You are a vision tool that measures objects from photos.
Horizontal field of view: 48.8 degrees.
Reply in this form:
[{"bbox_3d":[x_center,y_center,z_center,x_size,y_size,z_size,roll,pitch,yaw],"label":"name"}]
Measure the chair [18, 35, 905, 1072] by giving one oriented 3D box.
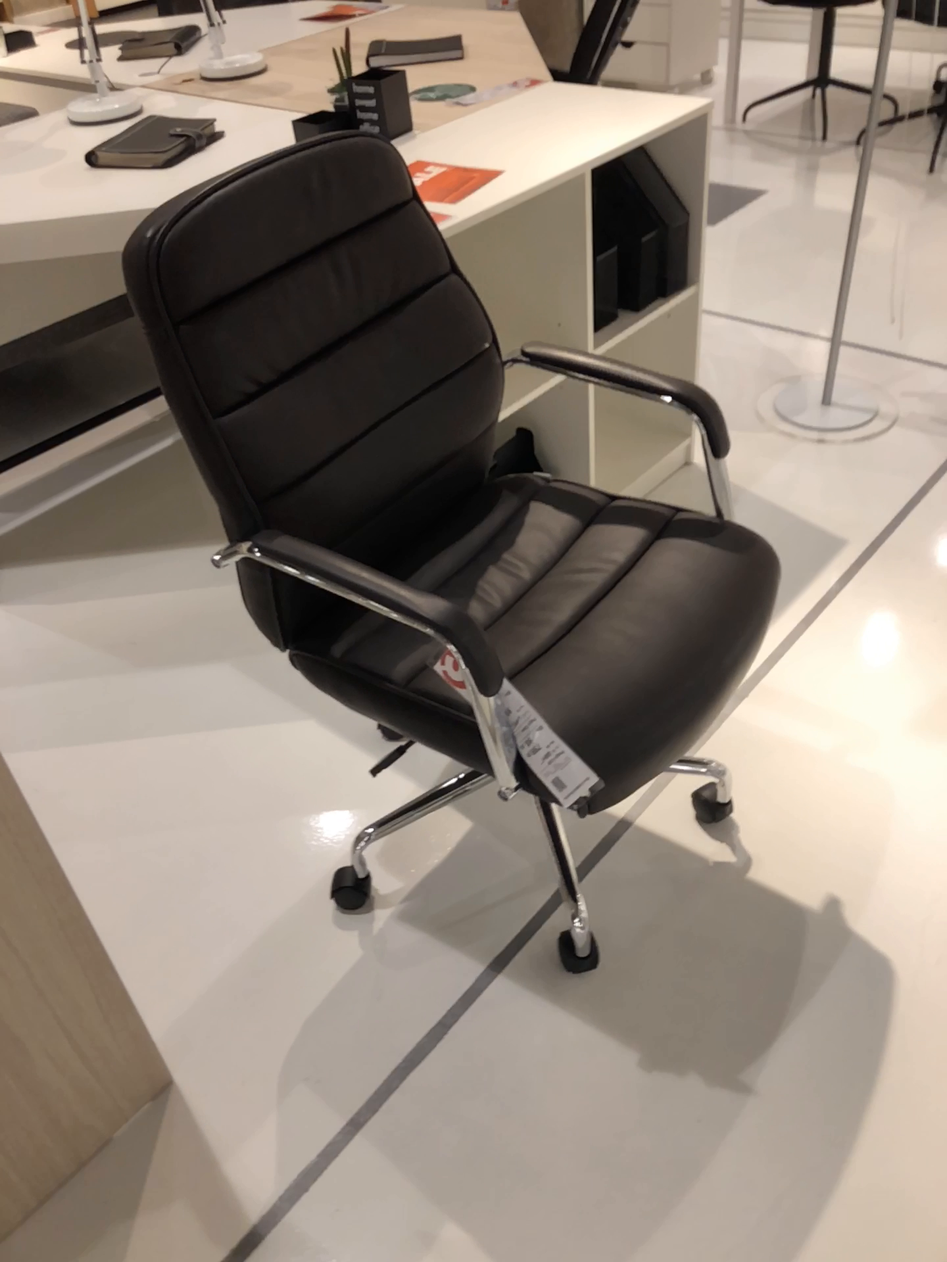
[{"bbox_3d":[0.051,-0.111,1.301,0.571,0.973,0.653,22,47,31],"label":"chair"}]
